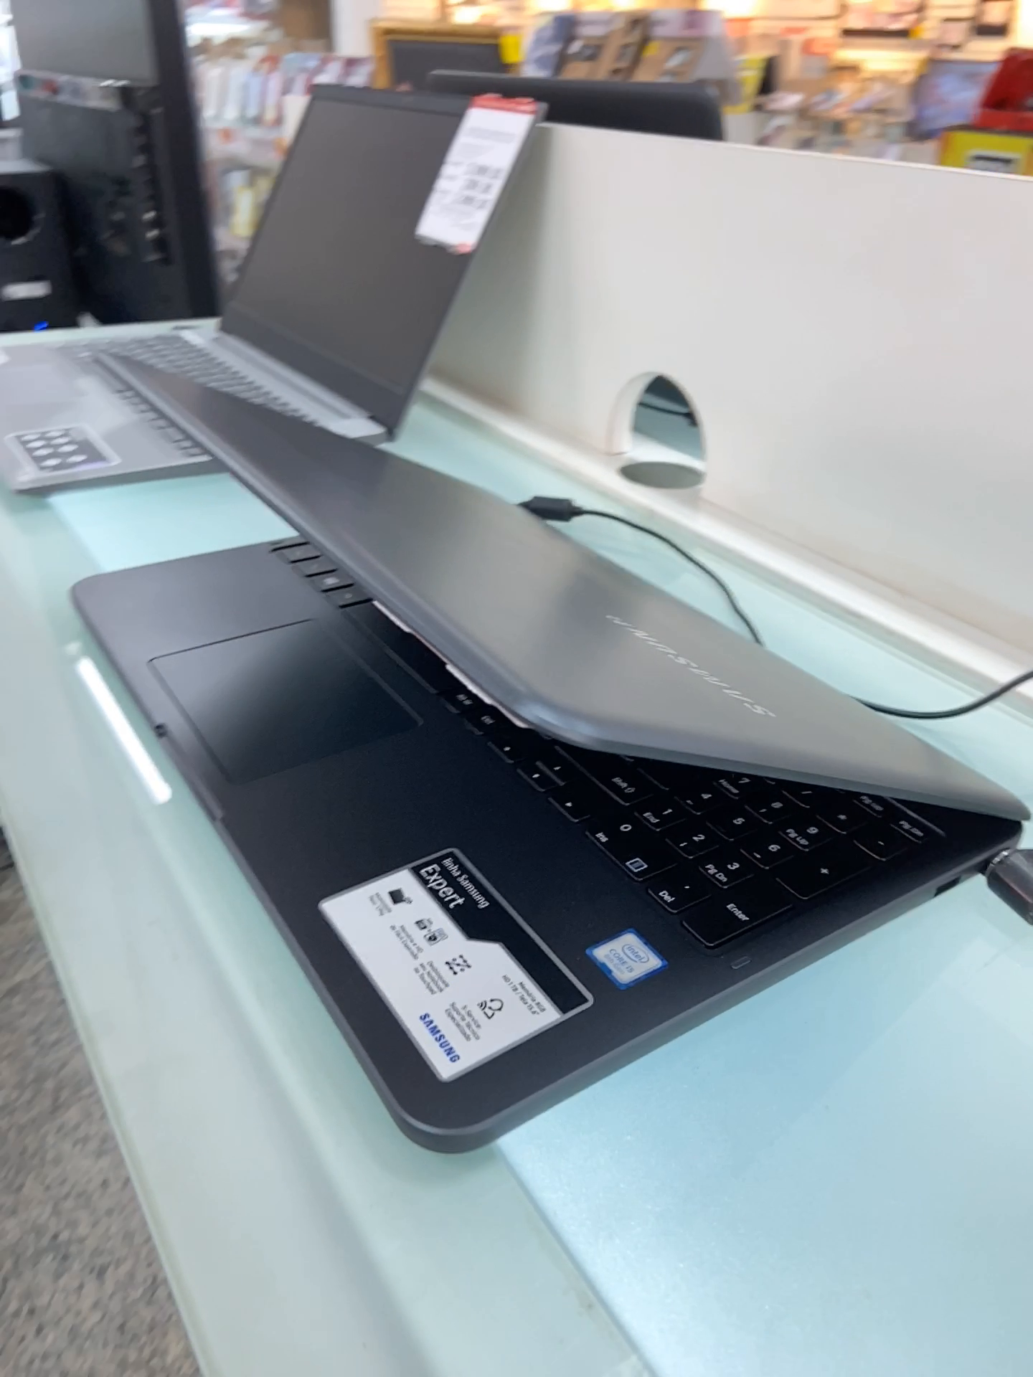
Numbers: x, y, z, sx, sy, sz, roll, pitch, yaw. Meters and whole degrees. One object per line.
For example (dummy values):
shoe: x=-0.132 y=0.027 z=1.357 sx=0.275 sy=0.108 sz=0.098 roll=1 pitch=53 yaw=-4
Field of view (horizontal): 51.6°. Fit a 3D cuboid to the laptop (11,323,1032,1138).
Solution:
laptop: x=-0.028 y=-0.046 z=0.428 sx=0.233 sy=0.101 sz=0.377 roll=-18 pitch=35 yaw=-29
